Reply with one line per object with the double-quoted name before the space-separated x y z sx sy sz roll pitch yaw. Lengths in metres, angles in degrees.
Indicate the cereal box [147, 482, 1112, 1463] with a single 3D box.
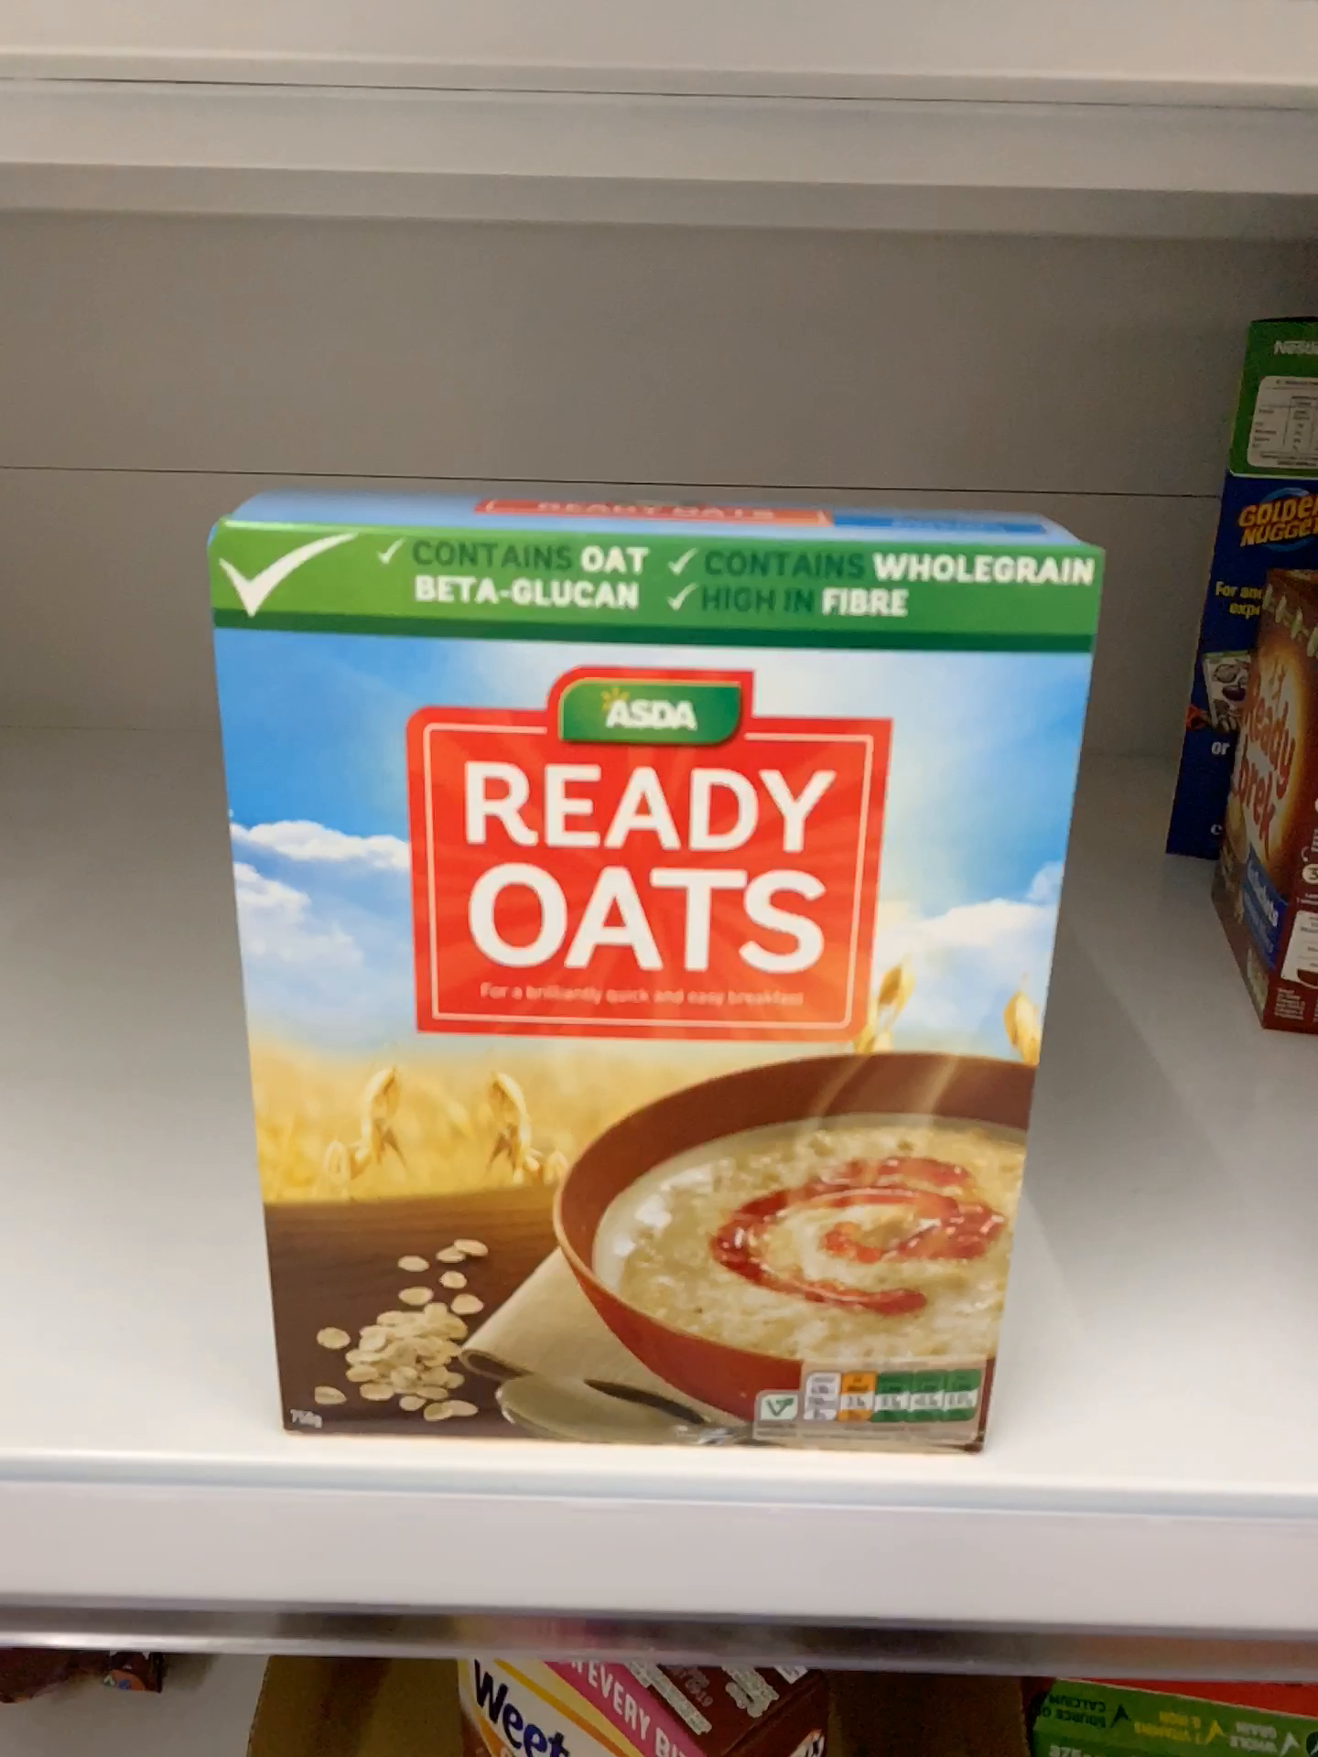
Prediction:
"cereal box" -0.009 0.031 0.371 0.210 0.258 0.071 2 21 0
